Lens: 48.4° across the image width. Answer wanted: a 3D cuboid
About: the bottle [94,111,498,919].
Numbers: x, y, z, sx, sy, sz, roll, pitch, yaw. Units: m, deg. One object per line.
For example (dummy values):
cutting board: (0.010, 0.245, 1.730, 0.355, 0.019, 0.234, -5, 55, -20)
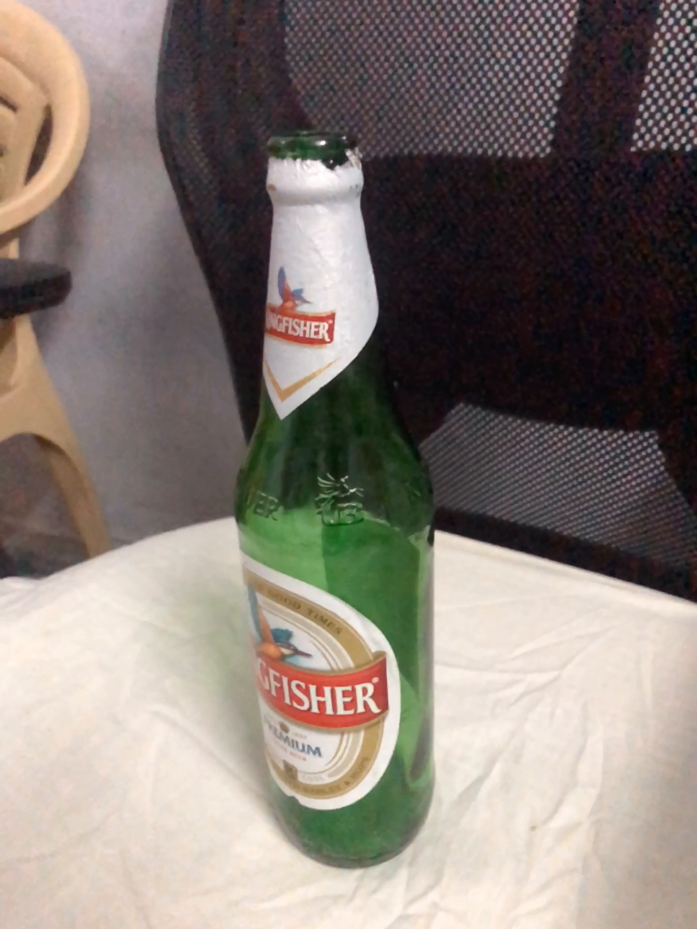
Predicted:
bottle: (-0.008, 0.025, 0.265, 0.080, 0.259, 0.070, 22, 37, 38)
